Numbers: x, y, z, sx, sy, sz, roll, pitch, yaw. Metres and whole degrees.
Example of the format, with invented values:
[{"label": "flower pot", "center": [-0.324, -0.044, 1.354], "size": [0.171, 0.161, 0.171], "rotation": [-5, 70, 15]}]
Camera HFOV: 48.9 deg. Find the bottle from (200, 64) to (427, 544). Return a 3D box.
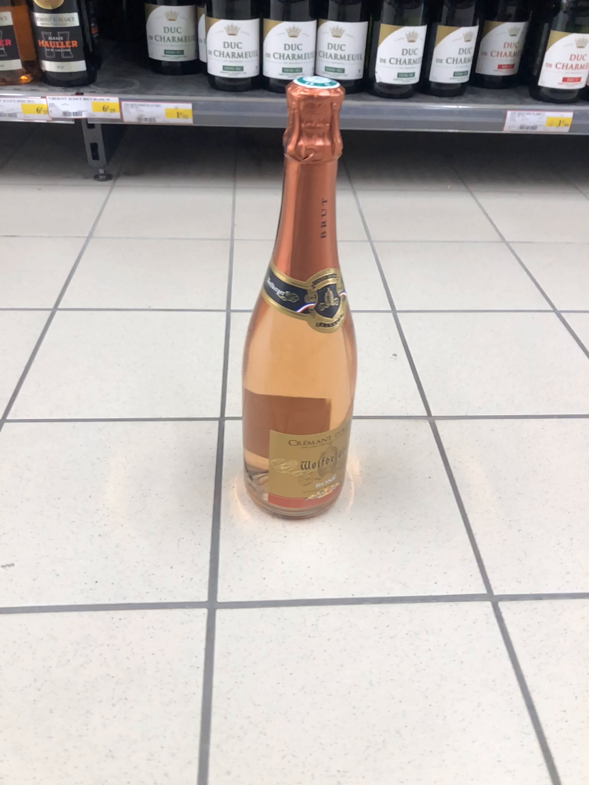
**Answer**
[{"label": "bottle", "center": [0.004, -0.047, 0.452], "size": [0.090, 0.308, 0.090], "rotation": [2, 36, -1]}]
